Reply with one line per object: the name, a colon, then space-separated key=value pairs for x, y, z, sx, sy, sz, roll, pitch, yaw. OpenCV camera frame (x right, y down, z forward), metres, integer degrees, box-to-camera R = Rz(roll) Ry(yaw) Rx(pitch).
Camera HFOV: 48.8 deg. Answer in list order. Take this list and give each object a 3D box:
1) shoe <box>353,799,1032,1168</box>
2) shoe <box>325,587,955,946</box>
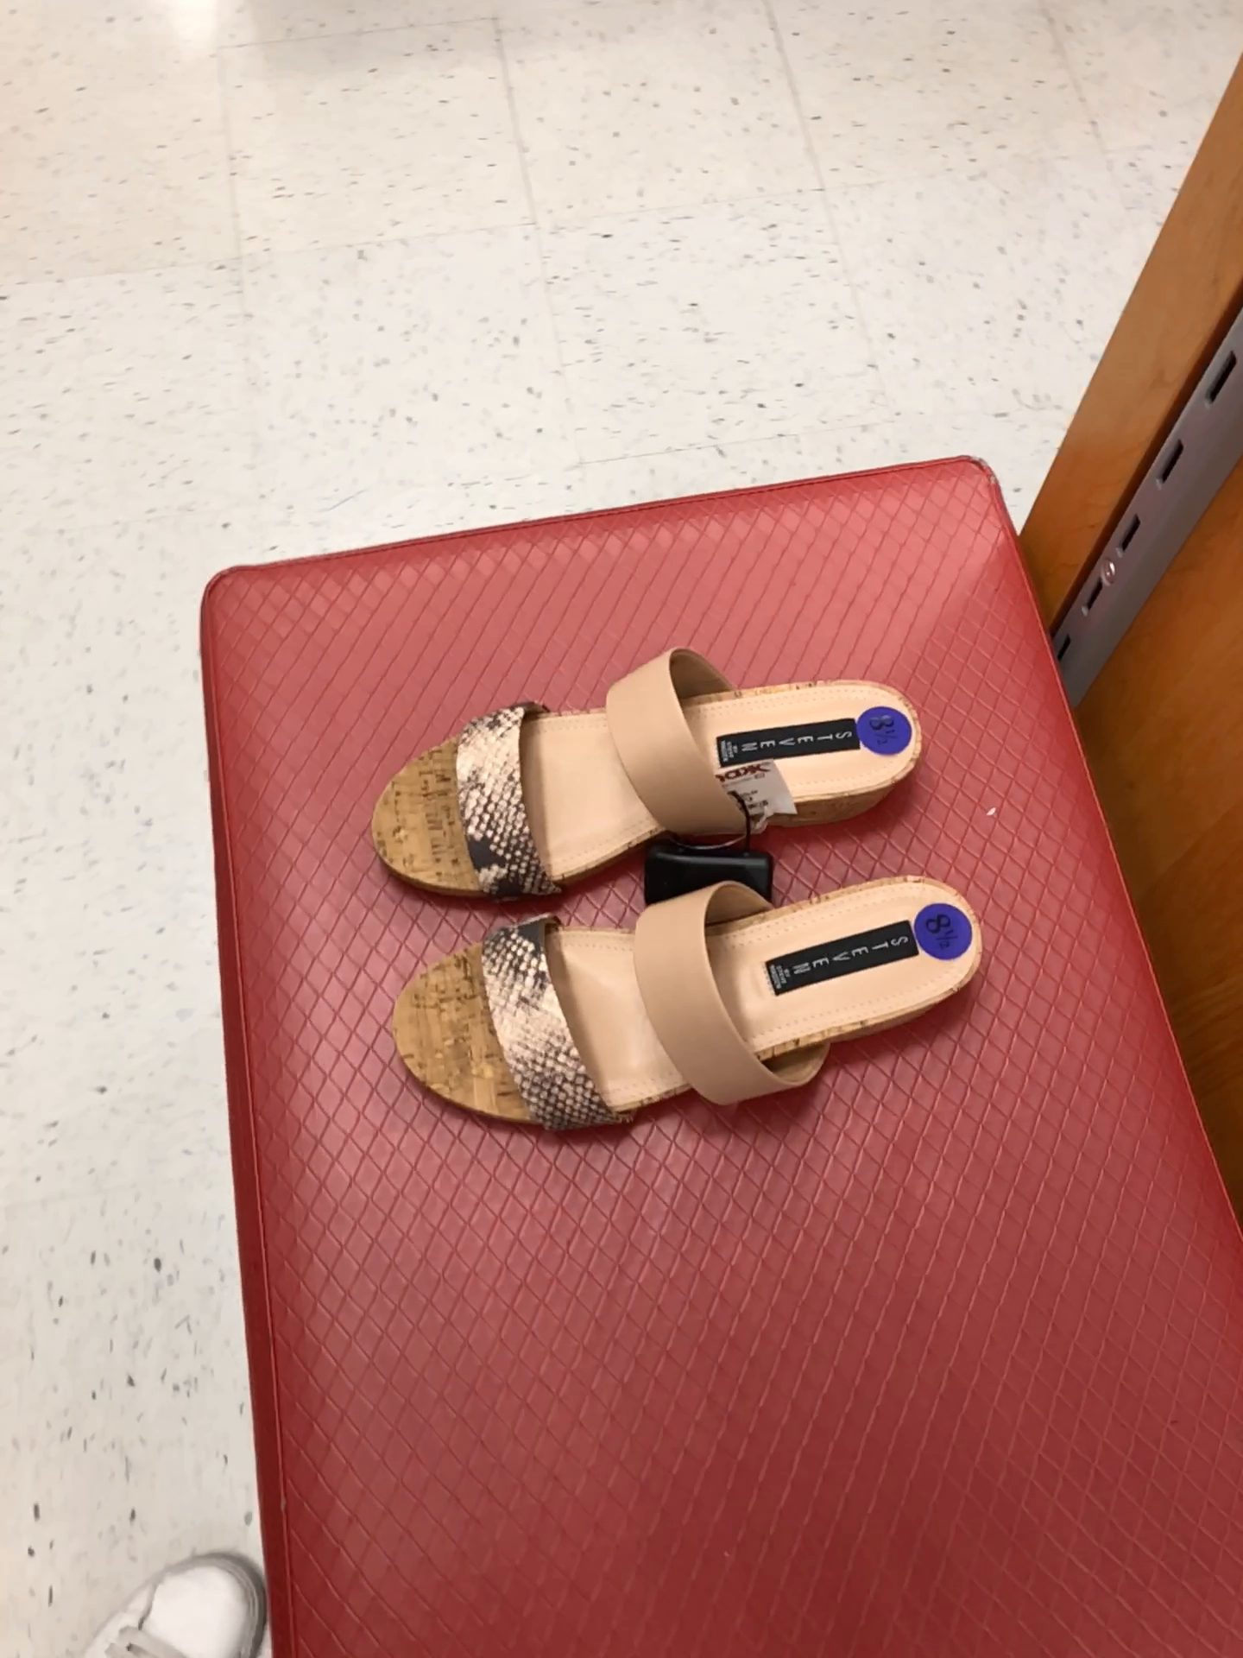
shoe: x=0.026 y=0.068 z=0.586 sx=0.257 sy=0.085 sz=0.096 roll=-9 pitch=68 yaw=-4
shoe: x=0.006 y=-0.027 z=0.628 sx=0.257 sy=0.085 sz=0.095 roll=-10 pitch=68 yaw=-4
